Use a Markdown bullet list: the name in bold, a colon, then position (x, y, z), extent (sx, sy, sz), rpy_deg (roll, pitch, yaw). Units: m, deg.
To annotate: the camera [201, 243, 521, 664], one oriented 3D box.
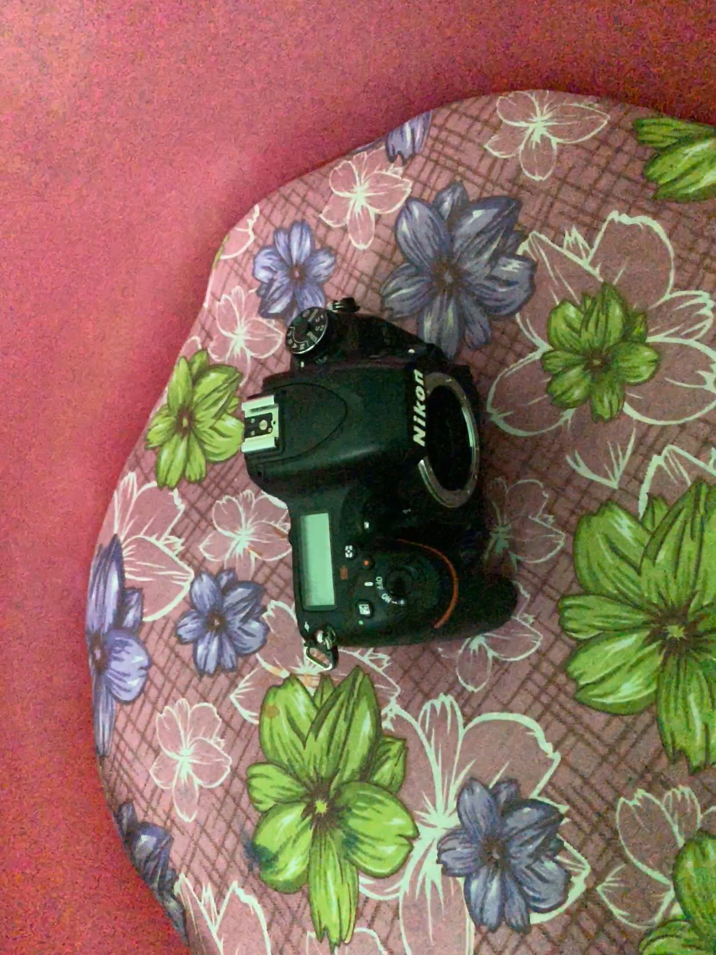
- **camera**: position (0.003, -0.001, 0.302), extent (0.093, 0.090, 0.140), rpy_deg (-8, 81, 26)
